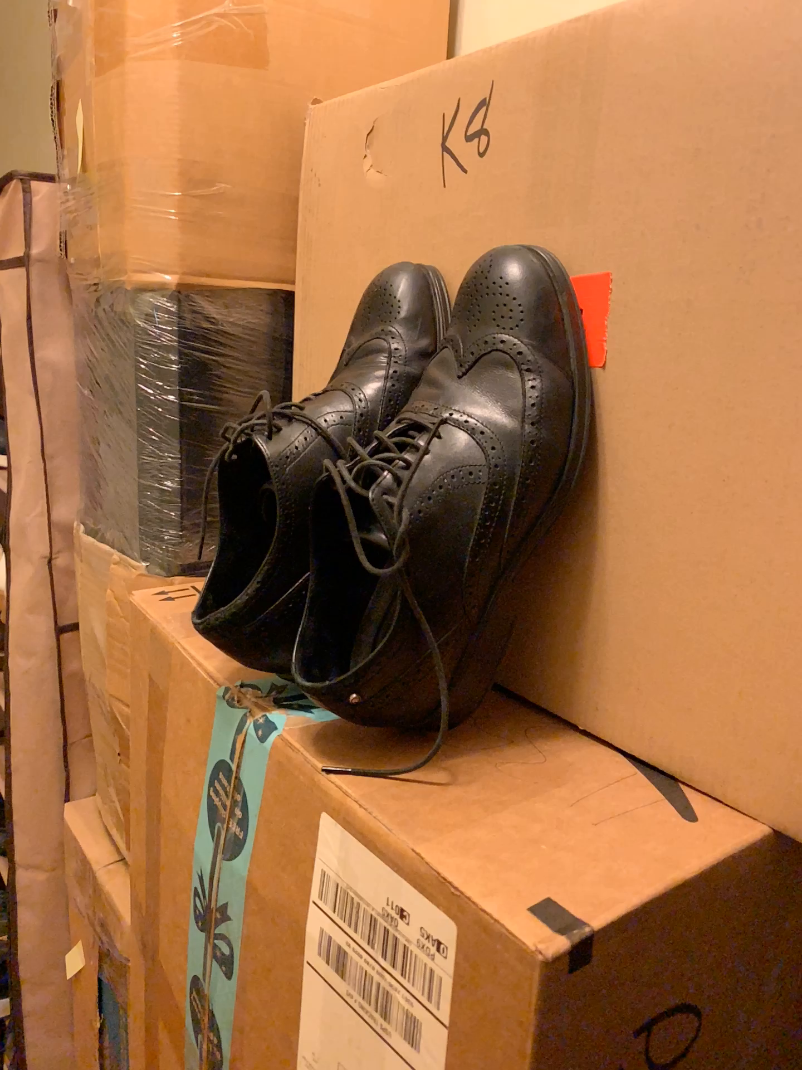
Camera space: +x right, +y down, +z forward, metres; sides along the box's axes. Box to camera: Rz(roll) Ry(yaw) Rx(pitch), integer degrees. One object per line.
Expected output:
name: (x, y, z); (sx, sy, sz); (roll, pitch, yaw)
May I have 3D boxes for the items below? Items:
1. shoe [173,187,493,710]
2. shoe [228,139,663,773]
shoe: (-0.042, -0.046, 0.513); (0.100, 0.280, 0.120); (15, -8, -42)
shoe: (0.018, -0.036, 0.430); (0.100, 0.280, 0.120); (13, 5, -41)
